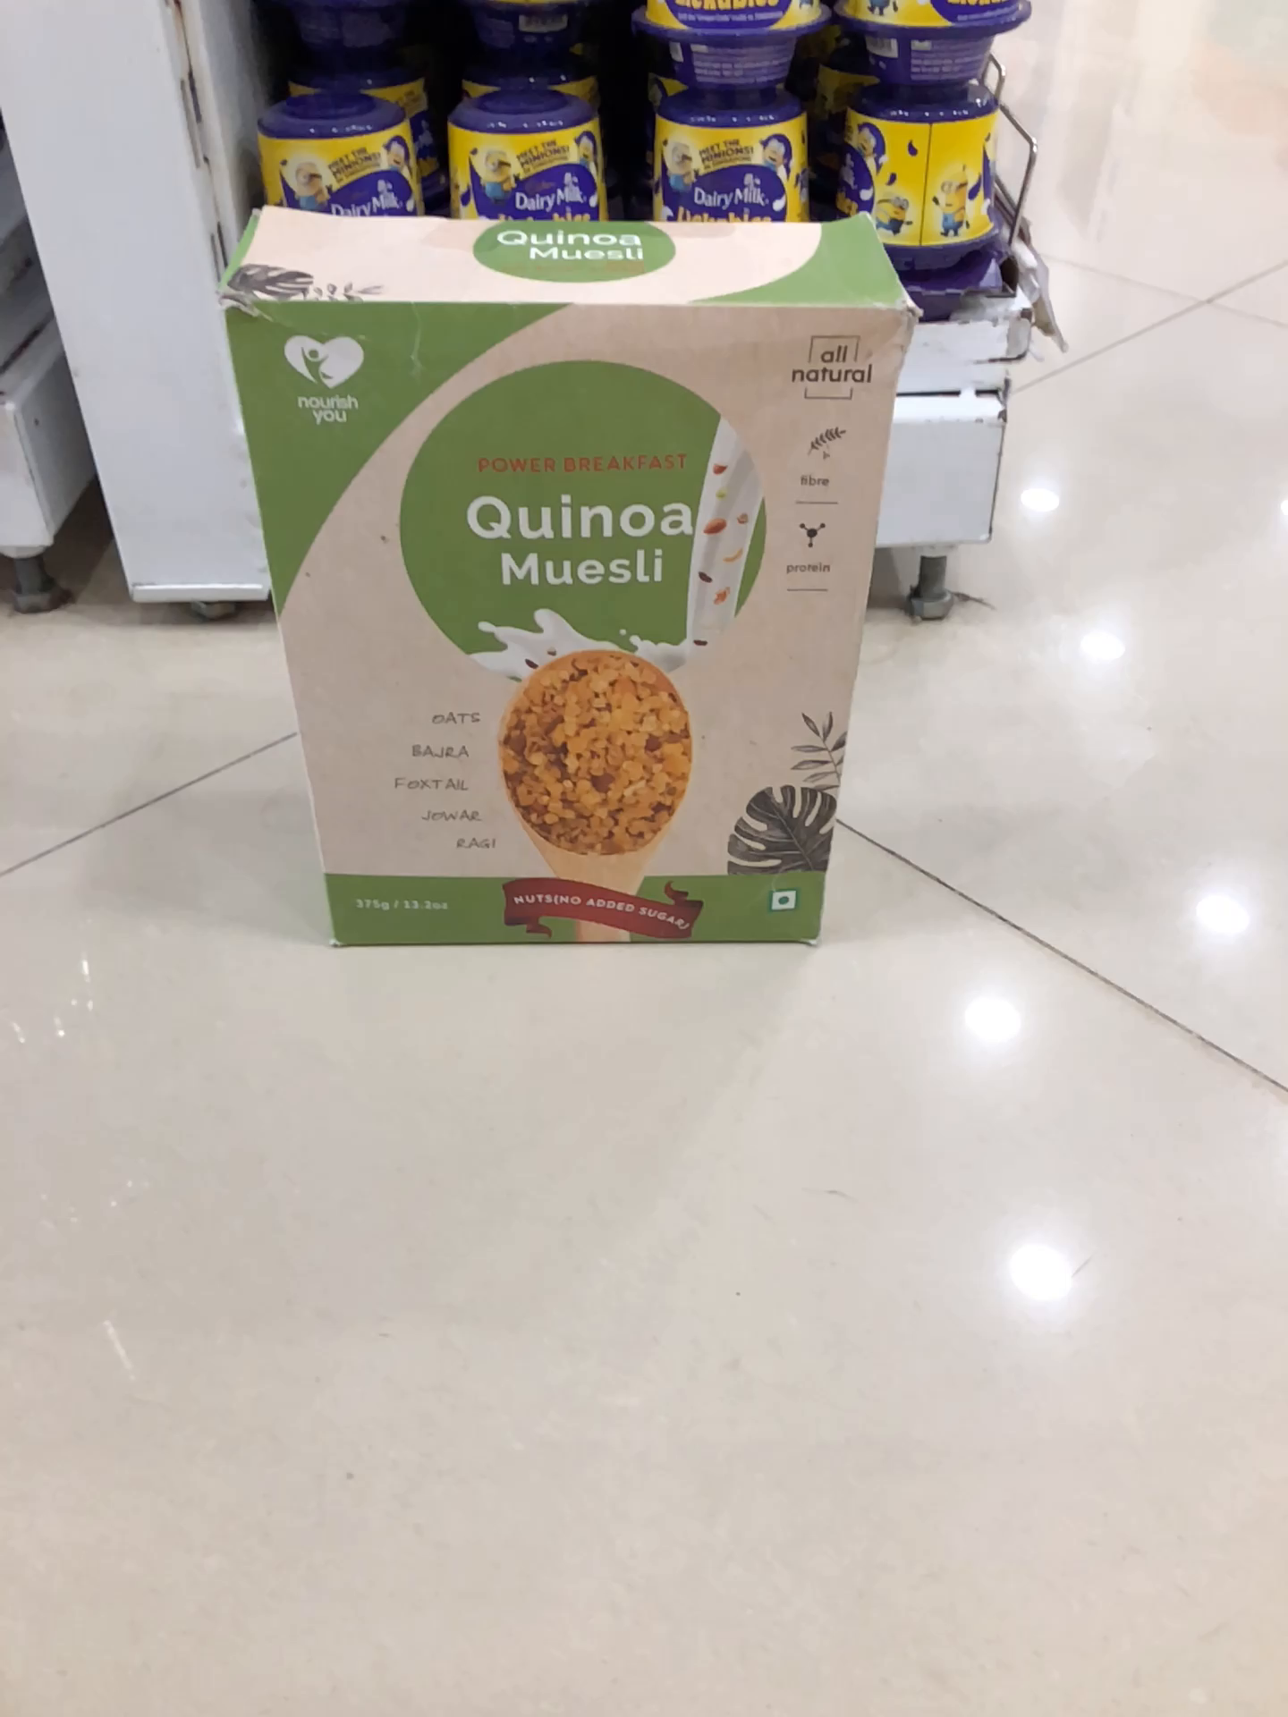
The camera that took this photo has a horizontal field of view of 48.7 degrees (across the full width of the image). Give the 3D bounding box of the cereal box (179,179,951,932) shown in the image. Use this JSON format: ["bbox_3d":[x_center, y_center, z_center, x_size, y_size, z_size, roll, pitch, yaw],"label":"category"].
[{"bbox_3d":[-0.018,-0.070,0.379,0.160,0.189,0.060,0,40,-2],"label":"cereal box"}]
